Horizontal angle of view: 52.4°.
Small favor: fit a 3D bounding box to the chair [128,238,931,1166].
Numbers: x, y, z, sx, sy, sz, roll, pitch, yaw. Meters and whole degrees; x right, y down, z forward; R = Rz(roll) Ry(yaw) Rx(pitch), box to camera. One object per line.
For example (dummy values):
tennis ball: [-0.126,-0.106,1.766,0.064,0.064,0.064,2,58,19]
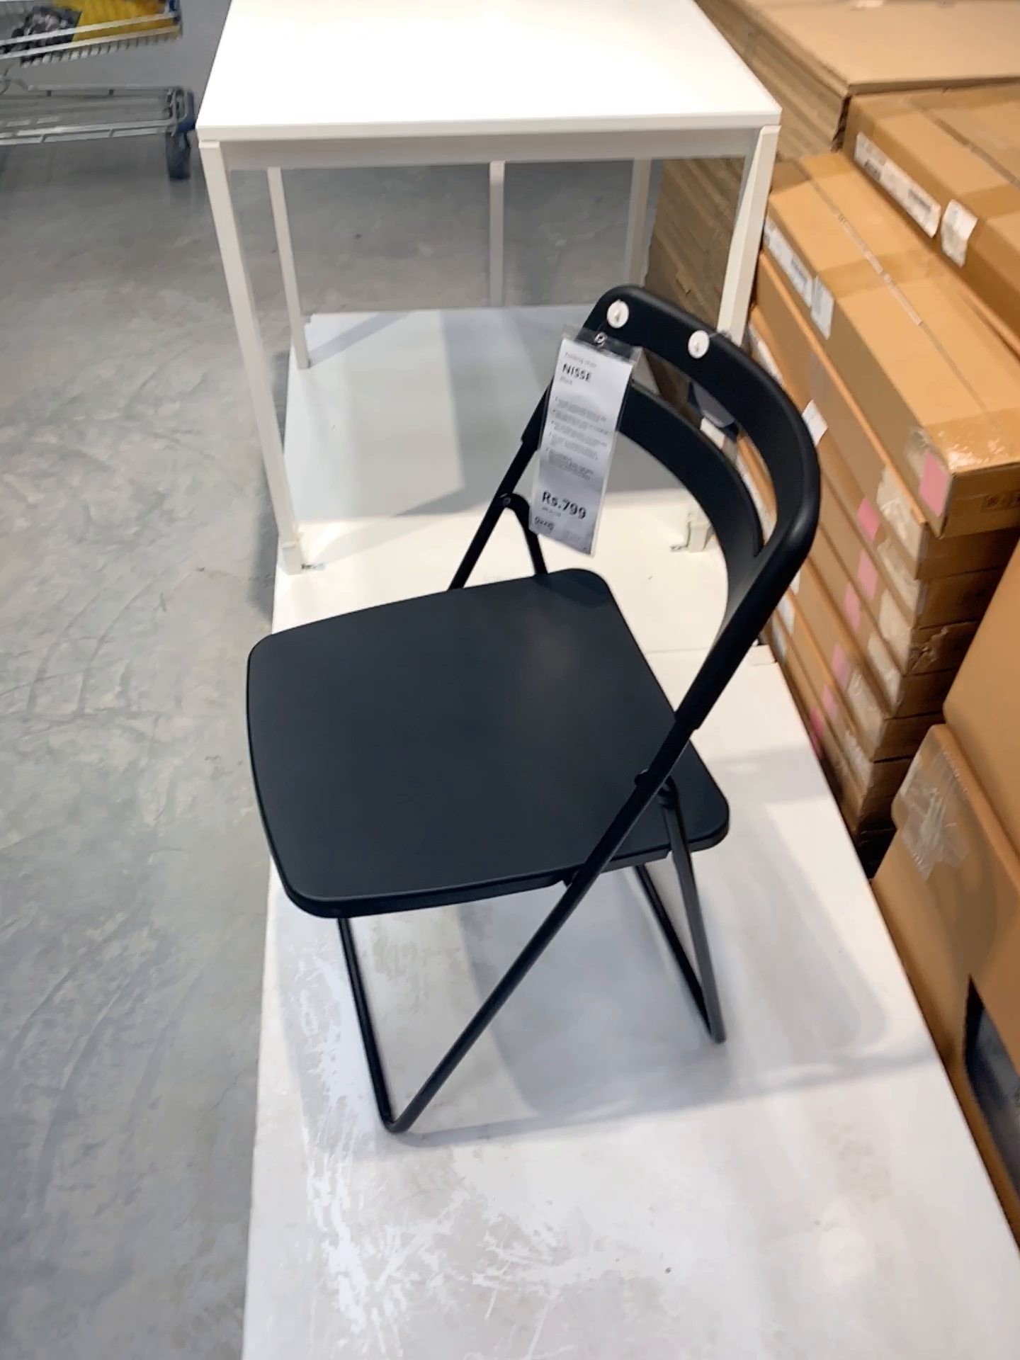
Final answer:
chair: [-0.031,0.037,0.964,0.450,0.658,0.462,-12,47,-11]
